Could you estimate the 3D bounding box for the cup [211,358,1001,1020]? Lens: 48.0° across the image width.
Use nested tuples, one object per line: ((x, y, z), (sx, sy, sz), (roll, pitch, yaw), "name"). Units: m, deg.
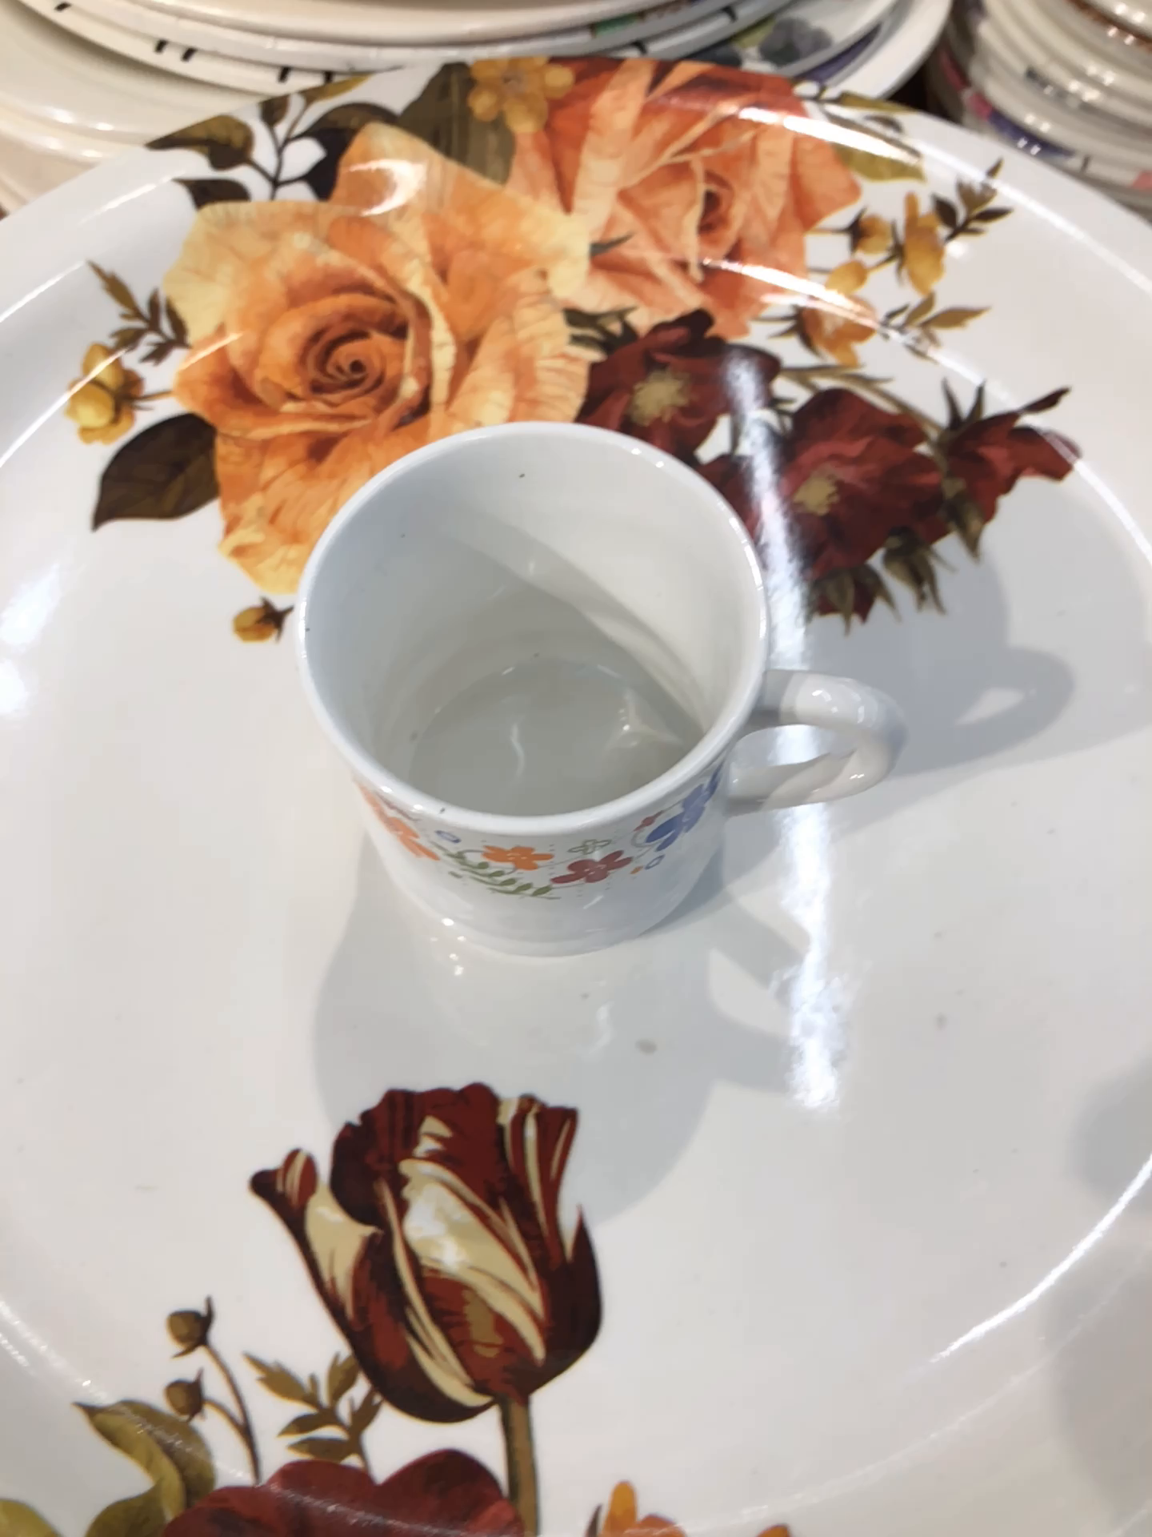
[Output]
((0.007, -0.008, 0.214), (0.100, 0.080, 0.070), (6, 66, 2), "cup")
